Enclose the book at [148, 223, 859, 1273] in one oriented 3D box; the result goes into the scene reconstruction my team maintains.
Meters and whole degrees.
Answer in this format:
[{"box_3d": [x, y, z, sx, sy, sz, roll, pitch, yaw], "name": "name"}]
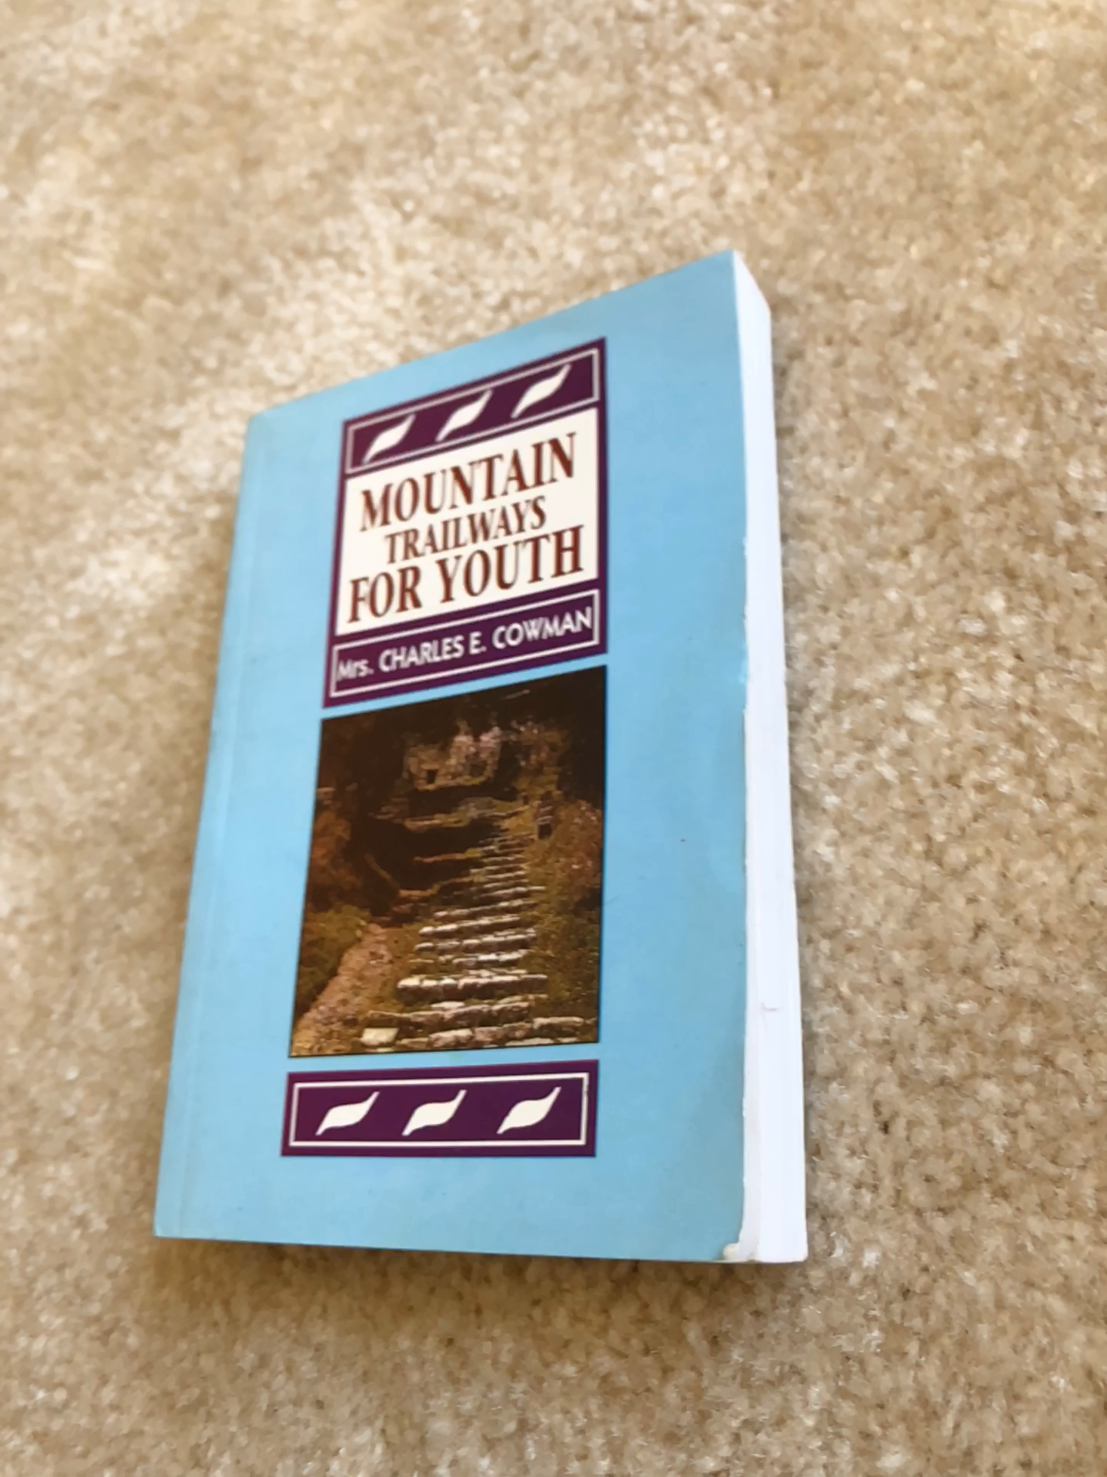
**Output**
[{"box_3d": [-0.012, 0.003, 0.234, 0.122, 0.030, 0.170, -10, 68, 30], "name": "book"}]
